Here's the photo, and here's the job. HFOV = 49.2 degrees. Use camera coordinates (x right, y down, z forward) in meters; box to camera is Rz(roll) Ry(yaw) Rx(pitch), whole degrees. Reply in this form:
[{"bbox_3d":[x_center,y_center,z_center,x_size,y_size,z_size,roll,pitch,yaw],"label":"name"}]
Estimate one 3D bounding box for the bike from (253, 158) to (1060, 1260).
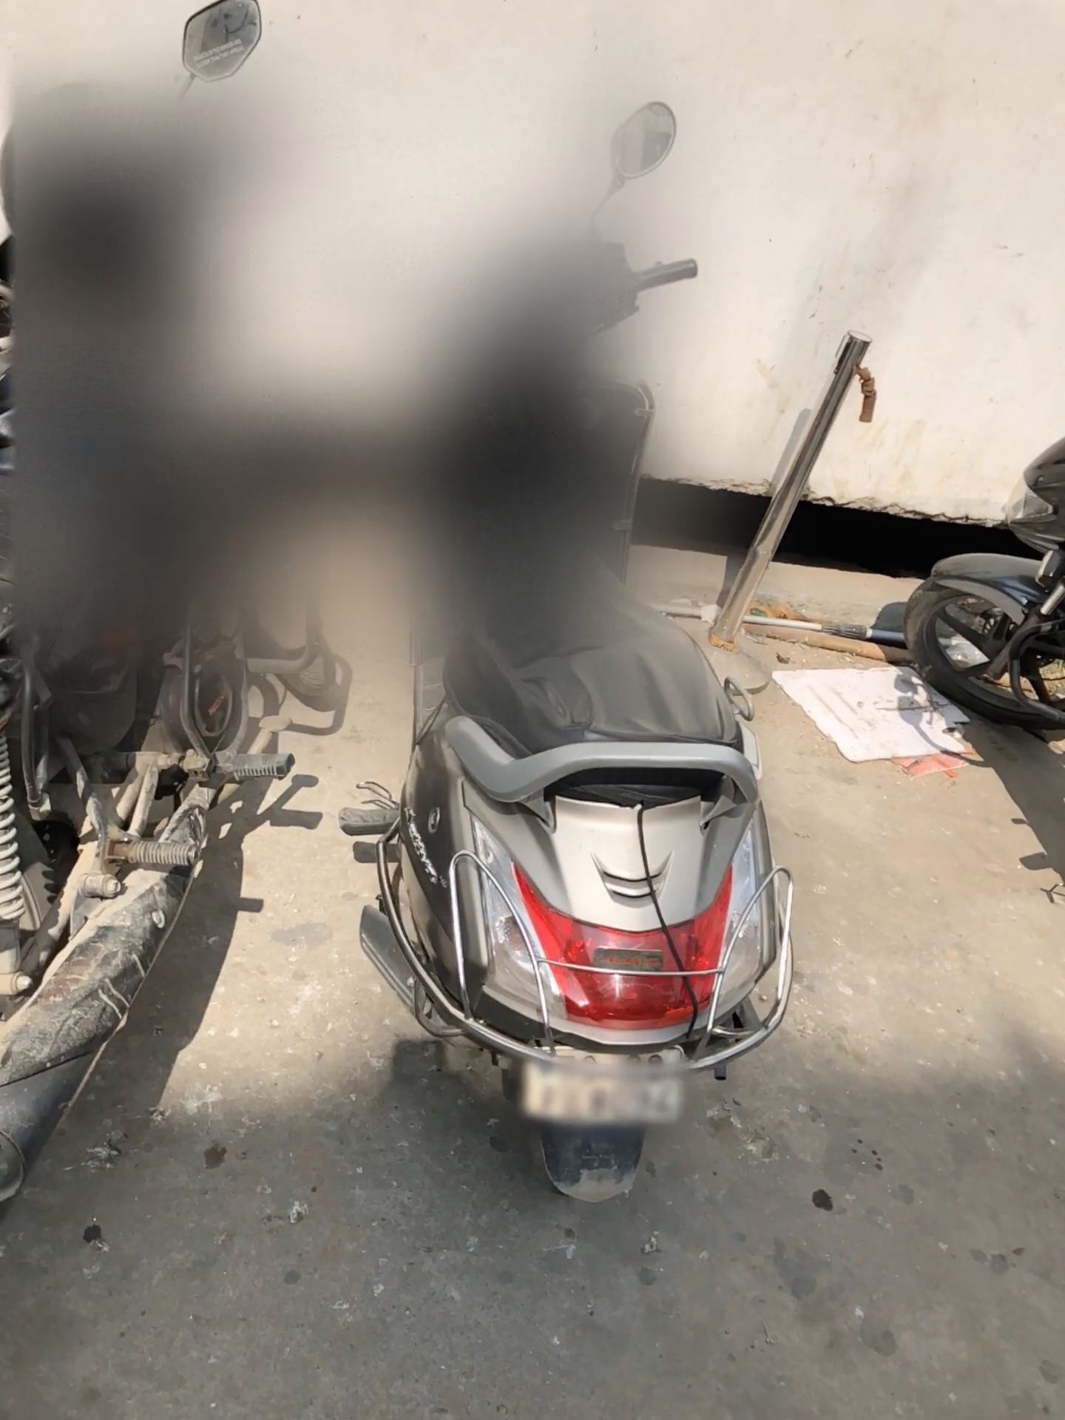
[{"bbox_3d":[0.002,-0.124,1.936,0.616,1.107,1.508,9,33,-13],"label":"bike"}]
